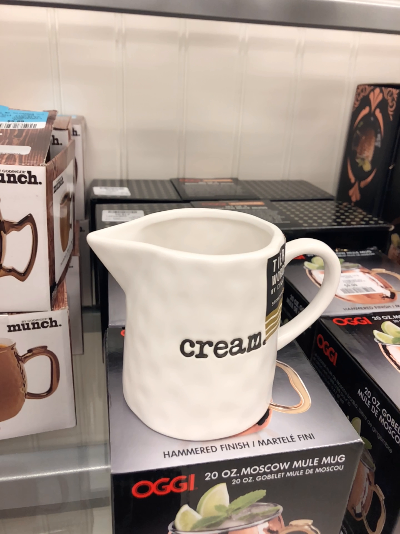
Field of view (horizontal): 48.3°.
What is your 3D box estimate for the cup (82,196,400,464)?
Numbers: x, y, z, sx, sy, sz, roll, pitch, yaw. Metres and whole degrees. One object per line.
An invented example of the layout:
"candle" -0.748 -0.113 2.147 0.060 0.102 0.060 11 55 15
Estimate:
"cup" 0.017 0.018 0.194 0.125 0.080 0.063 -5 25 -17
